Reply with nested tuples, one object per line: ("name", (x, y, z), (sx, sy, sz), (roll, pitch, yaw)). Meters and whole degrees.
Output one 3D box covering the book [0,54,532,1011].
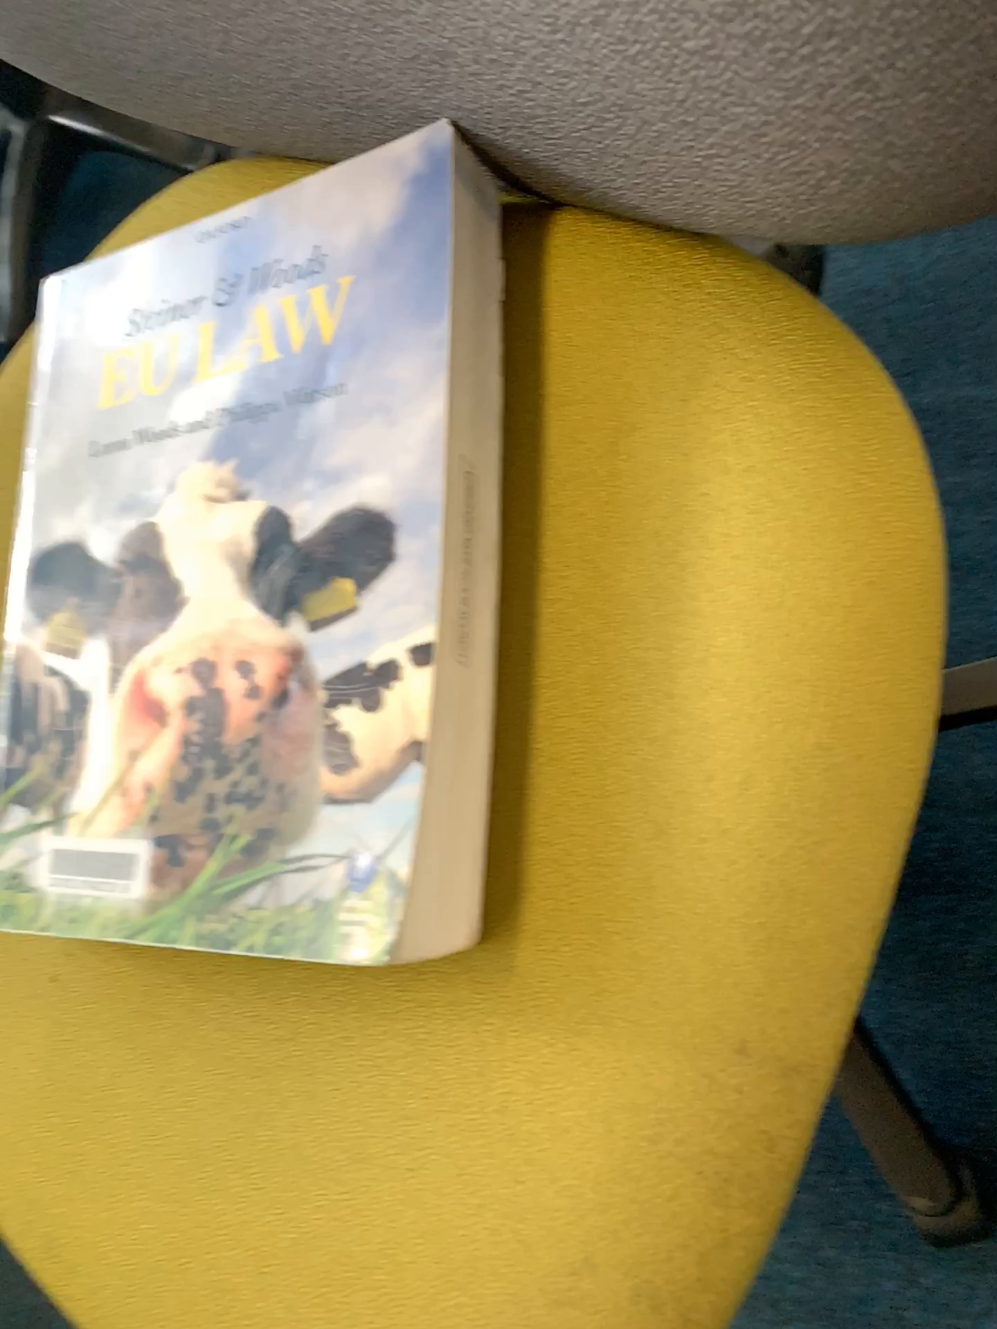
("book", (-0.092, -0.034, 0.331), (0.201, 0.050, 0.261), (-6, 74, 29))
